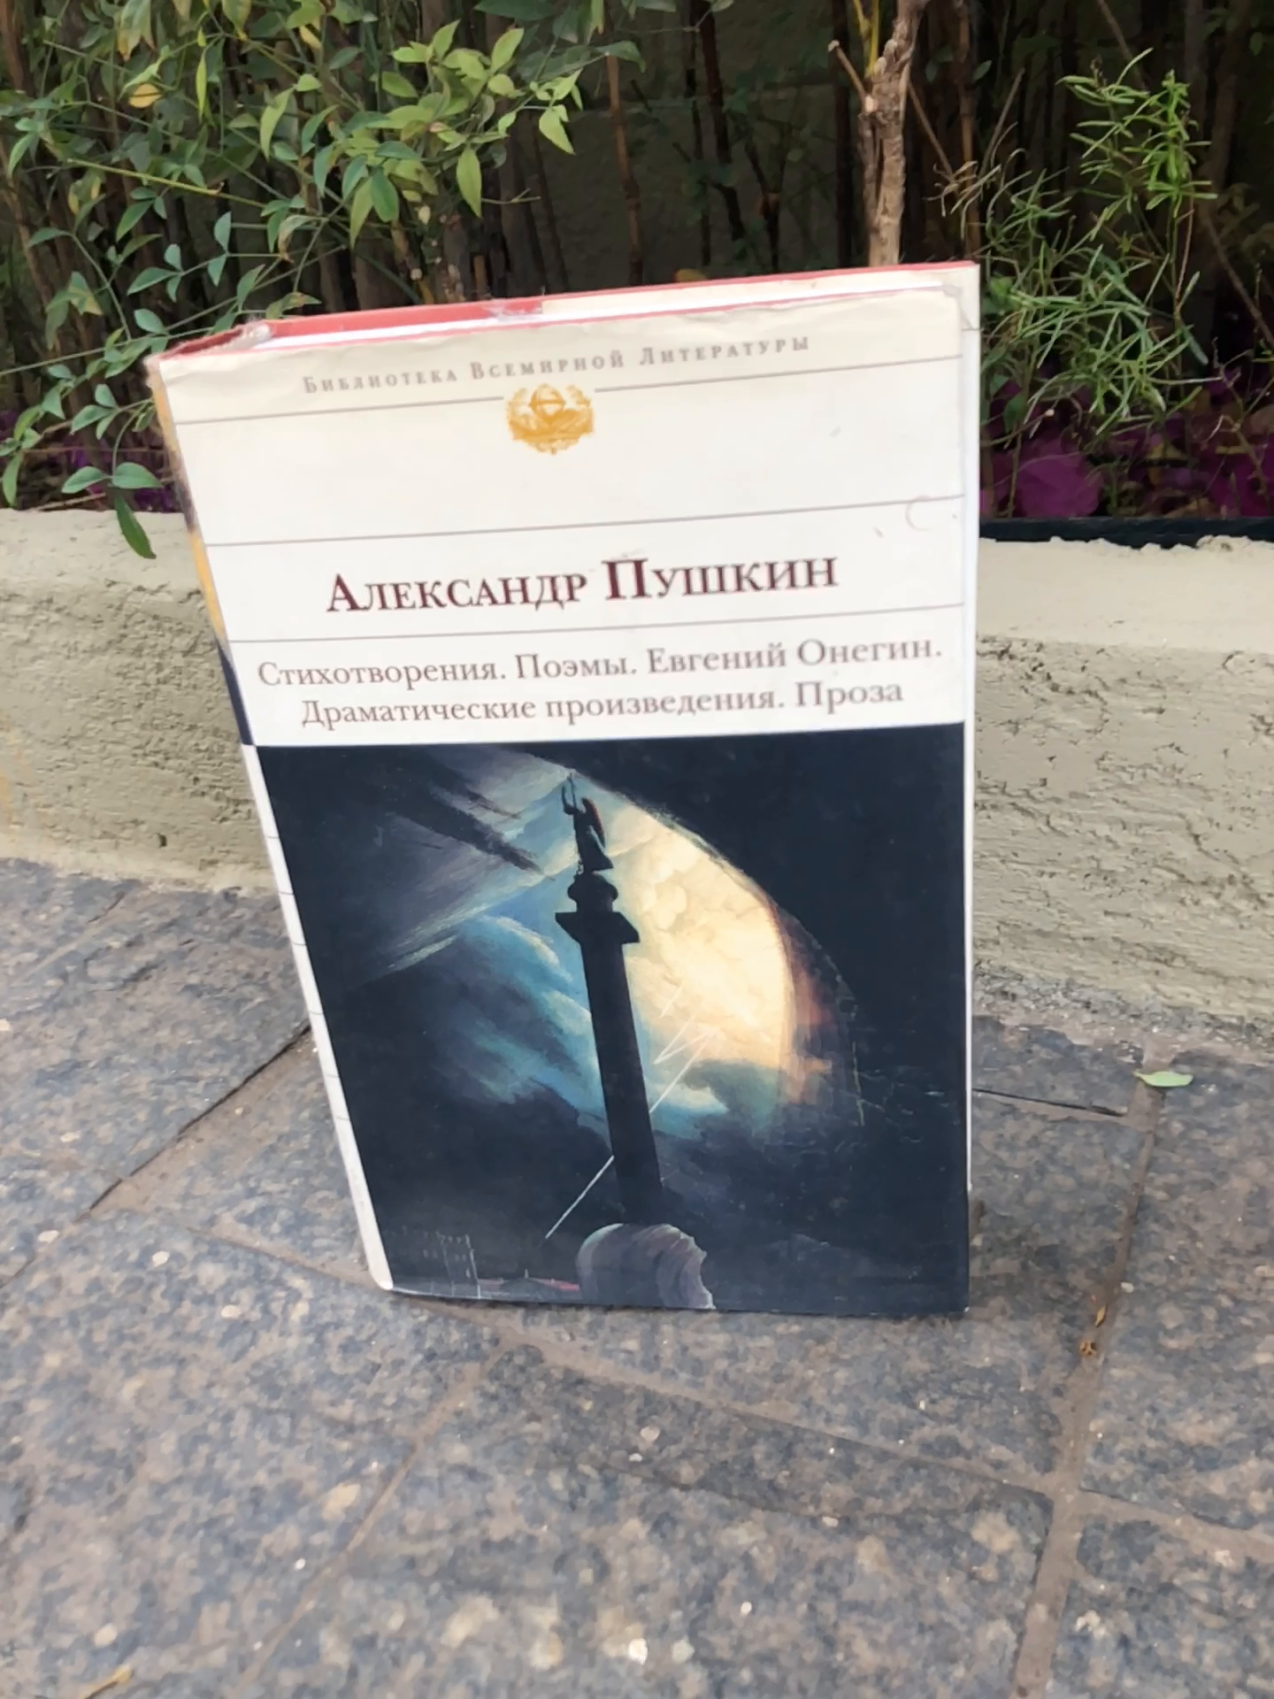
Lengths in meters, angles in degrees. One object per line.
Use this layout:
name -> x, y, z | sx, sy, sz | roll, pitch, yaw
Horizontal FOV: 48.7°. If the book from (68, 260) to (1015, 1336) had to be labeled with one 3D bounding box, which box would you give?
book -> -0.007, -0.001, 0.283 | 0.150, 0.204, 0.050 | -1, 26, 9
